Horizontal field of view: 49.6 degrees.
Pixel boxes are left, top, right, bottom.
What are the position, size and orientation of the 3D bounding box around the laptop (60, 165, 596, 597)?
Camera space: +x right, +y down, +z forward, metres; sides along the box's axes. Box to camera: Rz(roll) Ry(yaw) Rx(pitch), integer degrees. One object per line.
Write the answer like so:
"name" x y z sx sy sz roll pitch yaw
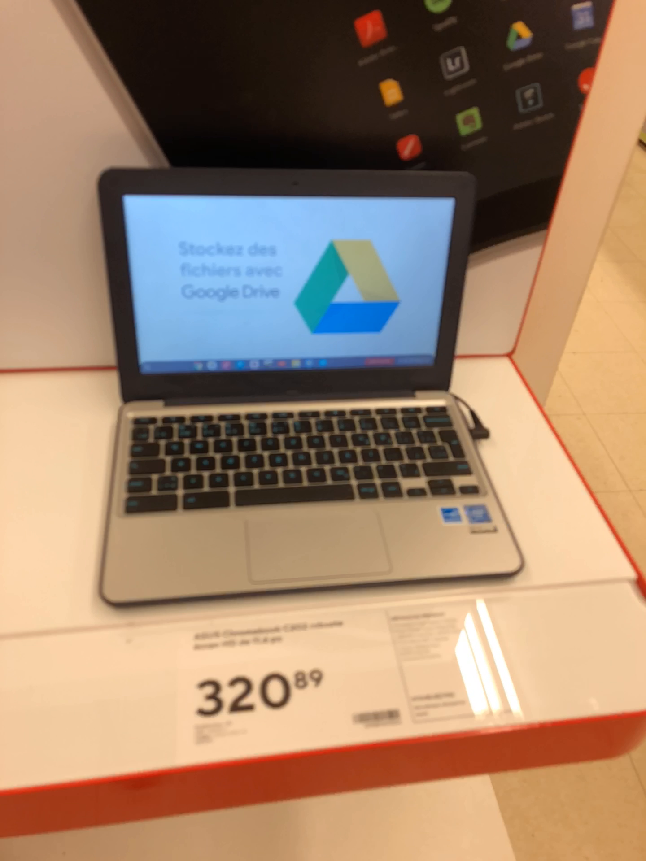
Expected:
"laptop" -0.010 -0.047 0.490 0.274 0.174 0.231 -3 44 -9
